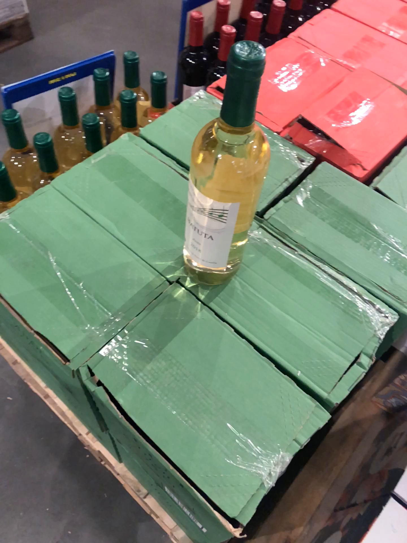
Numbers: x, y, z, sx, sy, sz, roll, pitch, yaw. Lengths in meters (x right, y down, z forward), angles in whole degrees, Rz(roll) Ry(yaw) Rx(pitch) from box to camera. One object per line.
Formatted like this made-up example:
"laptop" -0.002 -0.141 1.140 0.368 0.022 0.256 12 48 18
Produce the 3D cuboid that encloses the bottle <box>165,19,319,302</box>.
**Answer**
"bottle" 0.022 -0.085 0.440 0.080 0.262 0.084 2 57 -3
